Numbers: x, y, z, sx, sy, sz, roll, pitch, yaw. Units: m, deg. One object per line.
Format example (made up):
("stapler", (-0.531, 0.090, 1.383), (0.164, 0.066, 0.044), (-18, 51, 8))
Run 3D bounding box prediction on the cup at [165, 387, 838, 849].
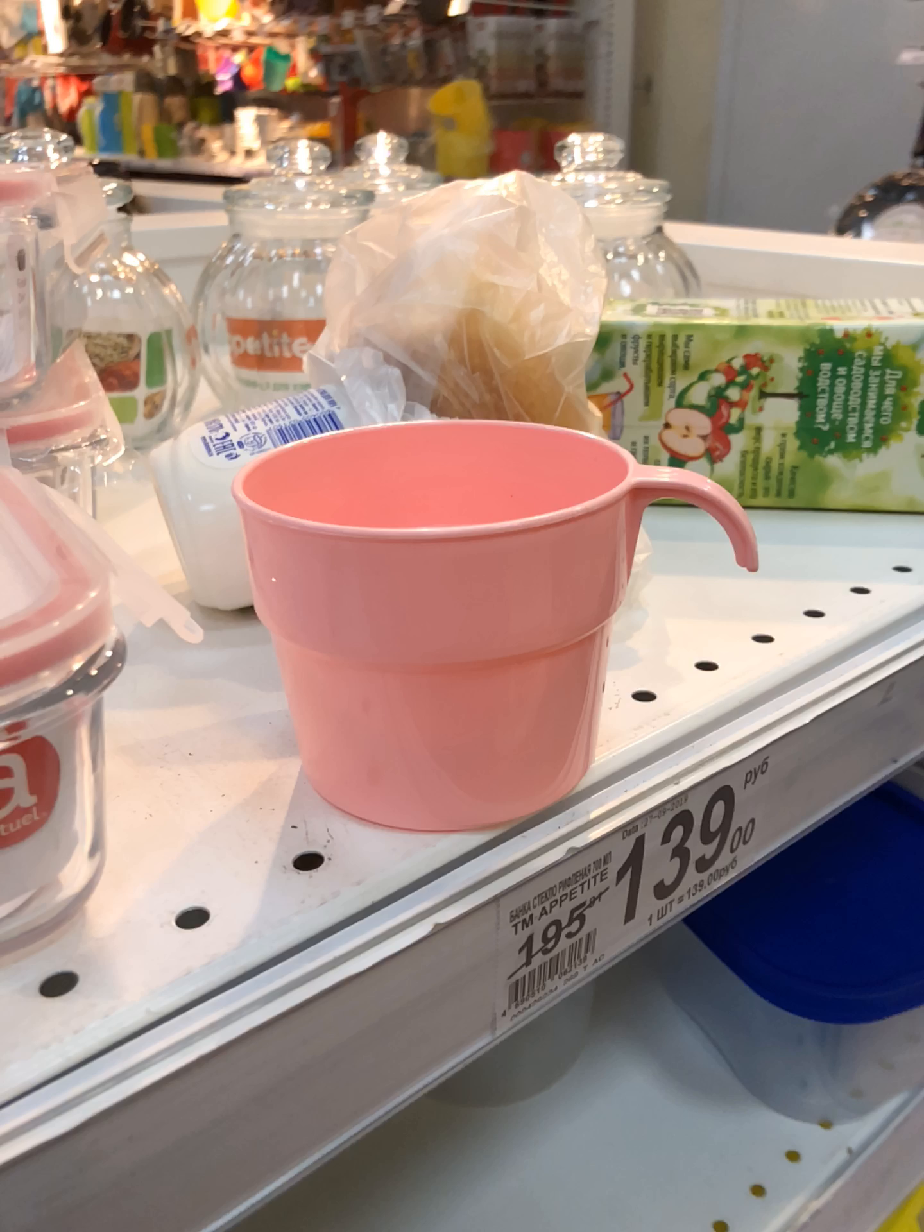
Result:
("cup", (0.009, -0.006, 0.219), (0.110, 0.070, 0.081), (1, 23, 4))
